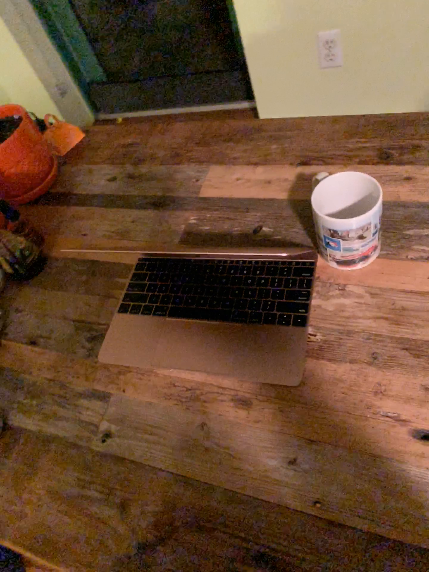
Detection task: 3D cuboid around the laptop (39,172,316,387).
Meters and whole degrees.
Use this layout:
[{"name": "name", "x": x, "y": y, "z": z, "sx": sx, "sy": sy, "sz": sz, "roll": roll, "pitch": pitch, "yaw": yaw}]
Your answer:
[{"name": "laptop", "x": -0.029, "y": -0.013, "z": 0.555, "sx": 0.279, "sy": 0.145, "sz": 0.194, "roll": 3, "pitch": 58, "yaw": 21}]
